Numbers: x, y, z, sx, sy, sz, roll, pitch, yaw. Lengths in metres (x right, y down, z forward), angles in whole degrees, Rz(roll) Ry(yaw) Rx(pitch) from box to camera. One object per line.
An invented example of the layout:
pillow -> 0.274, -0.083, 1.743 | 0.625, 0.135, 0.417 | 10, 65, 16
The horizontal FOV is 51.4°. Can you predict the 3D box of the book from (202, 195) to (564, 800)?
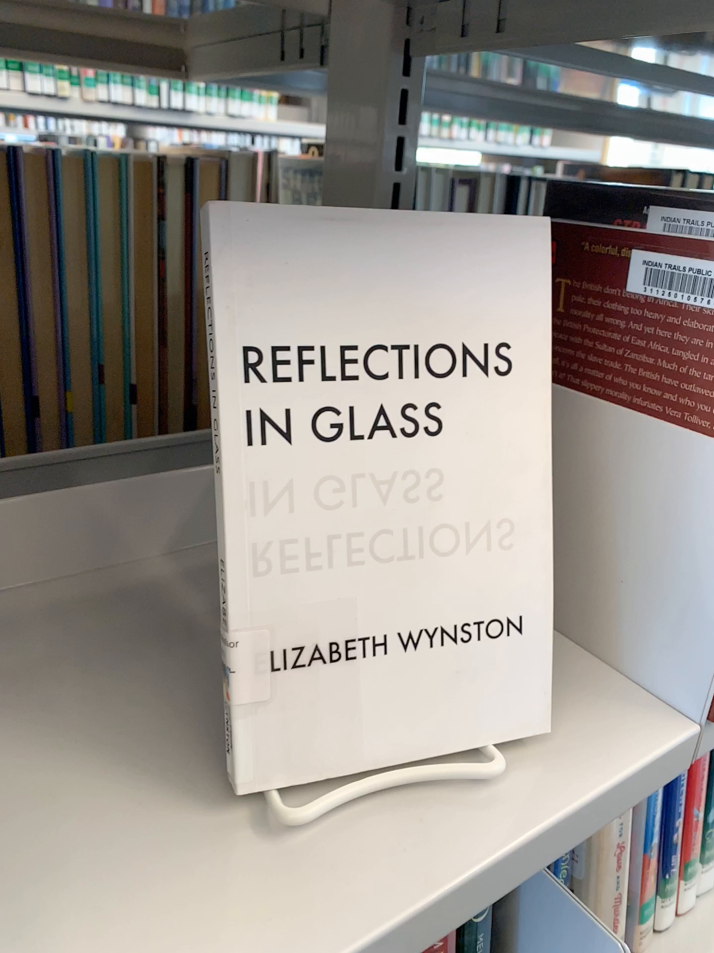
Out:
book -> 0.014, 0.006, 0.268 | 0.127, 0.196, 0.018 | -4, 7, -19
